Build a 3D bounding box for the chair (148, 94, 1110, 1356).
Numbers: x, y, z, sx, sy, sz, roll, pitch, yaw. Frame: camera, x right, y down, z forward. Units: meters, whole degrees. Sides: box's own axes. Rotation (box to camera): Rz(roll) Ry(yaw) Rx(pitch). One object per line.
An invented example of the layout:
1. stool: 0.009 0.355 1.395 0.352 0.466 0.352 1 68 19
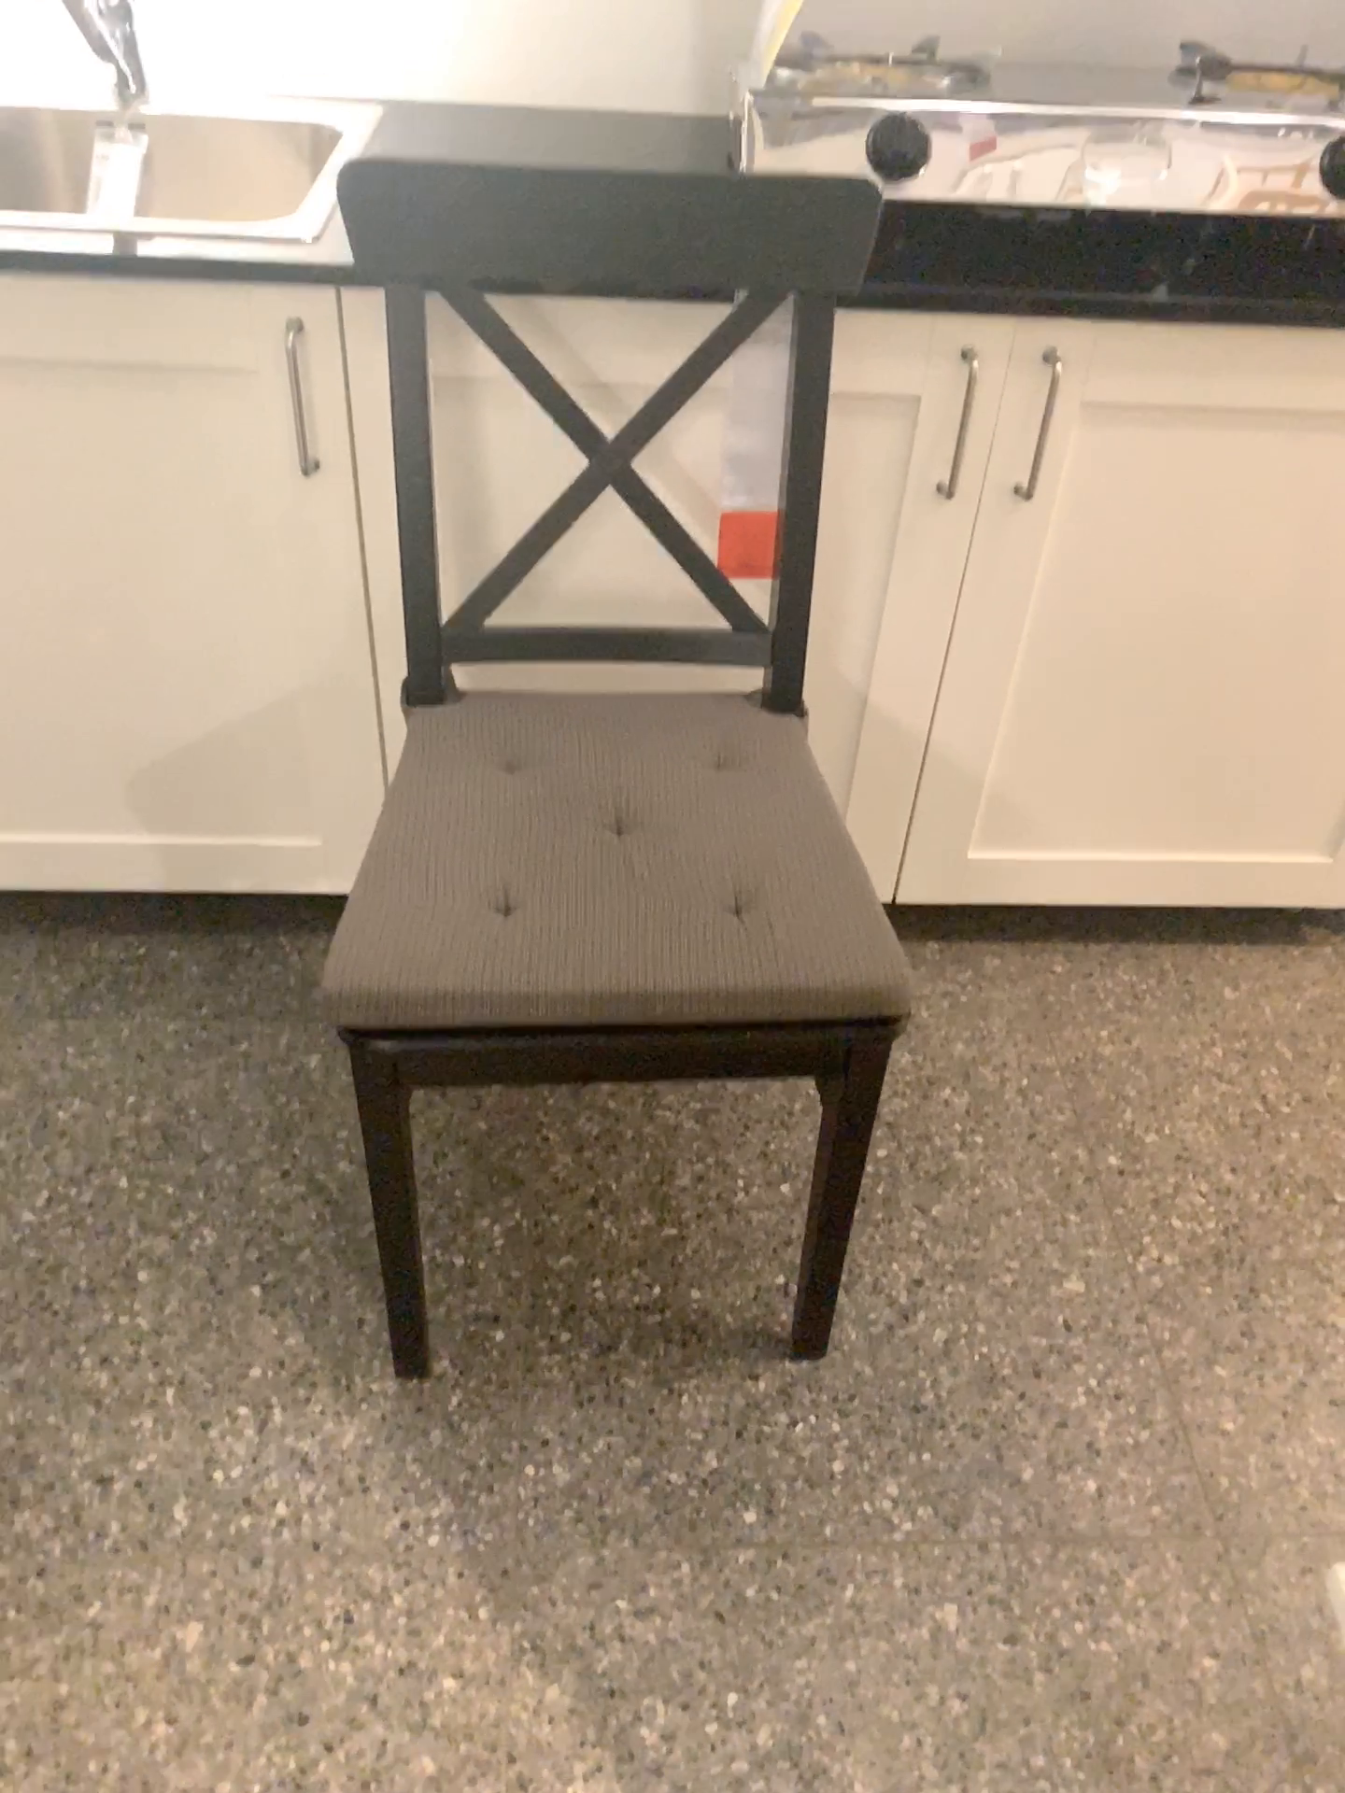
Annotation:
1. chair: -0.055 -0.098 1.037 0.420 0.786 0.493 -1 41 -6
